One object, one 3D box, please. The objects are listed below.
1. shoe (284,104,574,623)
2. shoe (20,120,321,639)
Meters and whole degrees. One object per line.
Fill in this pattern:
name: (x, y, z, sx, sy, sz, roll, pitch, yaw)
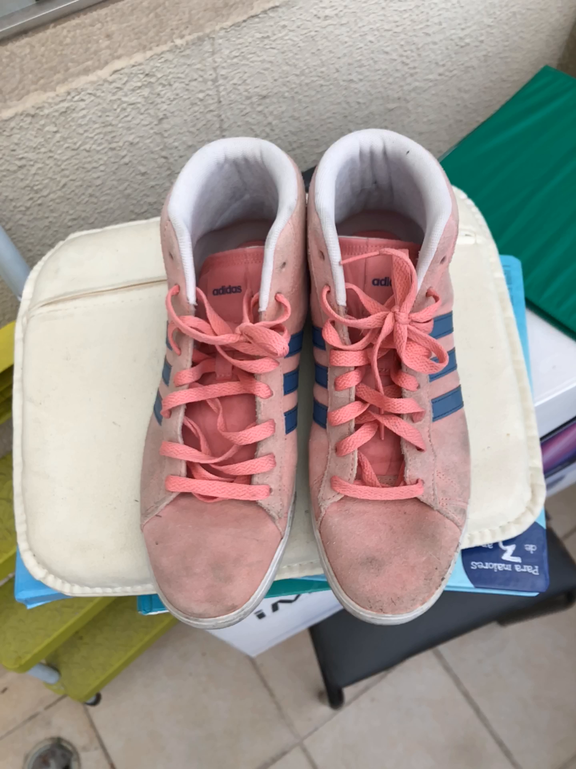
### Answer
shoe: (0.053, -0.010, 0.352, 0.100, 0.130, 0.251, -2, 64, -1)
shoe: (-0.042, -0.002, 0.356, 0.100, 0.130, 0.251, 4, 64, 2)
